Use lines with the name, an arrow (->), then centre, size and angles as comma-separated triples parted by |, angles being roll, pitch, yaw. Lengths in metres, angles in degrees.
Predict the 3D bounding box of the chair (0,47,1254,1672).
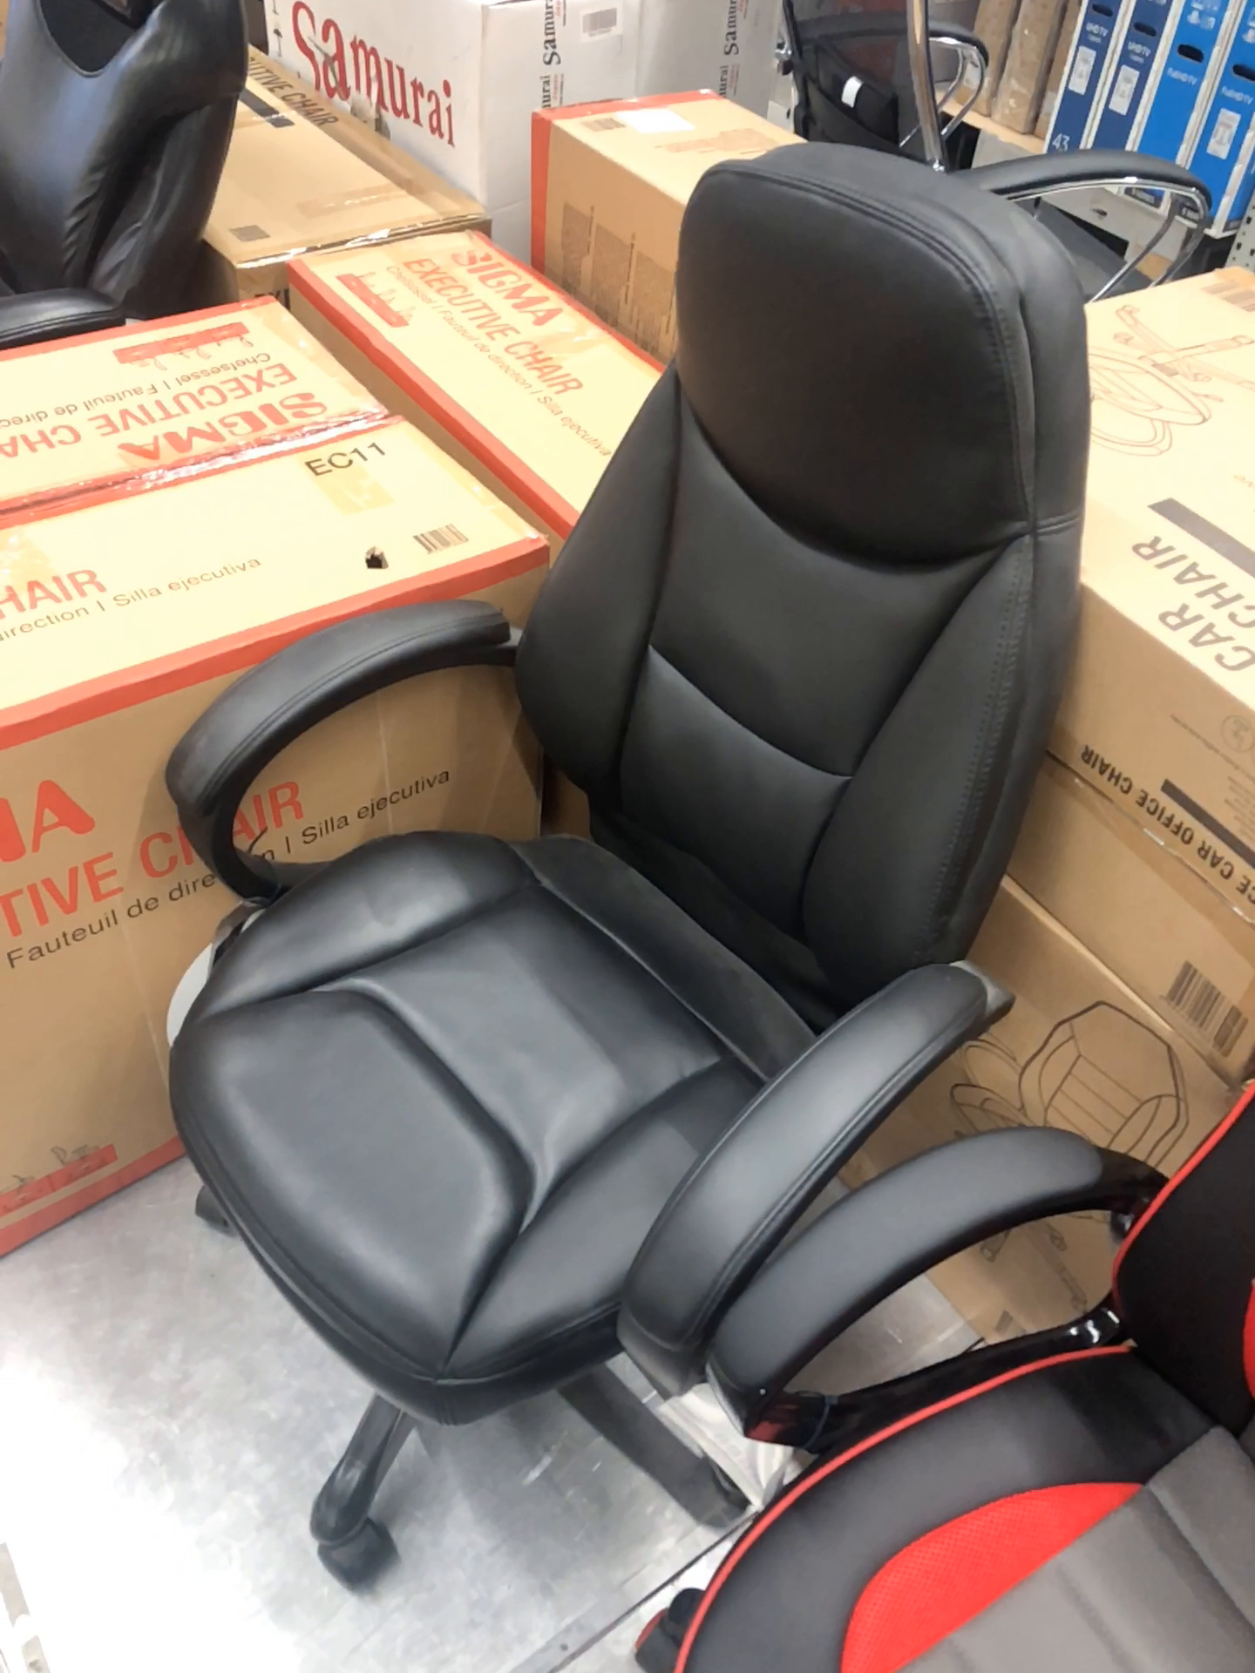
chair -> -0.042, 0.089, 1.142 | 0.743, 1.063, 0.722 | -32, 57, -32
